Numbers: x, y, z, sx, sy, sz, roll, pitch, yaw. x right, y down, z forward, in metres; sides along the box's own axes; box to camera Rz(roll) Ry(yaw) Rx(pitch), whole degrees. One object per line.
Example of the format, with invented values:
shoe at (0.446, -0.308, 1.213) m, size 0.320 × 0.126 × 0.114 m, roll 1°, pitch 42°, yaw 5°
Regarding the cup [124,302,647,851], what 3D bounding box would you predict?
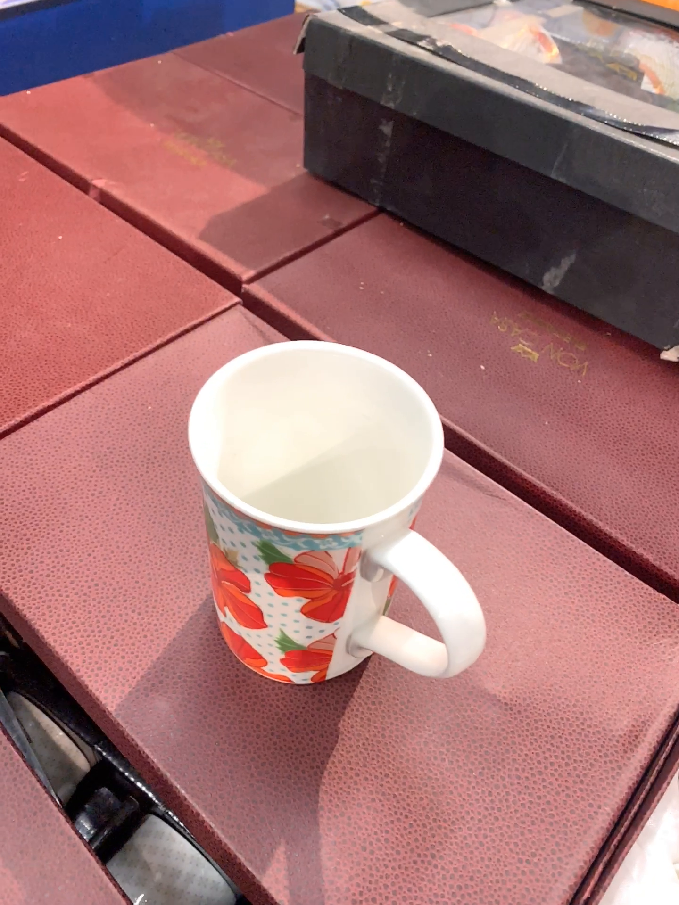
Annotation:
cup at (0.007, 0.039, 0.232) m, size 0.120 × 0.110 × 0.080 m, roll 38°, pitch 55°, yaw 24°
